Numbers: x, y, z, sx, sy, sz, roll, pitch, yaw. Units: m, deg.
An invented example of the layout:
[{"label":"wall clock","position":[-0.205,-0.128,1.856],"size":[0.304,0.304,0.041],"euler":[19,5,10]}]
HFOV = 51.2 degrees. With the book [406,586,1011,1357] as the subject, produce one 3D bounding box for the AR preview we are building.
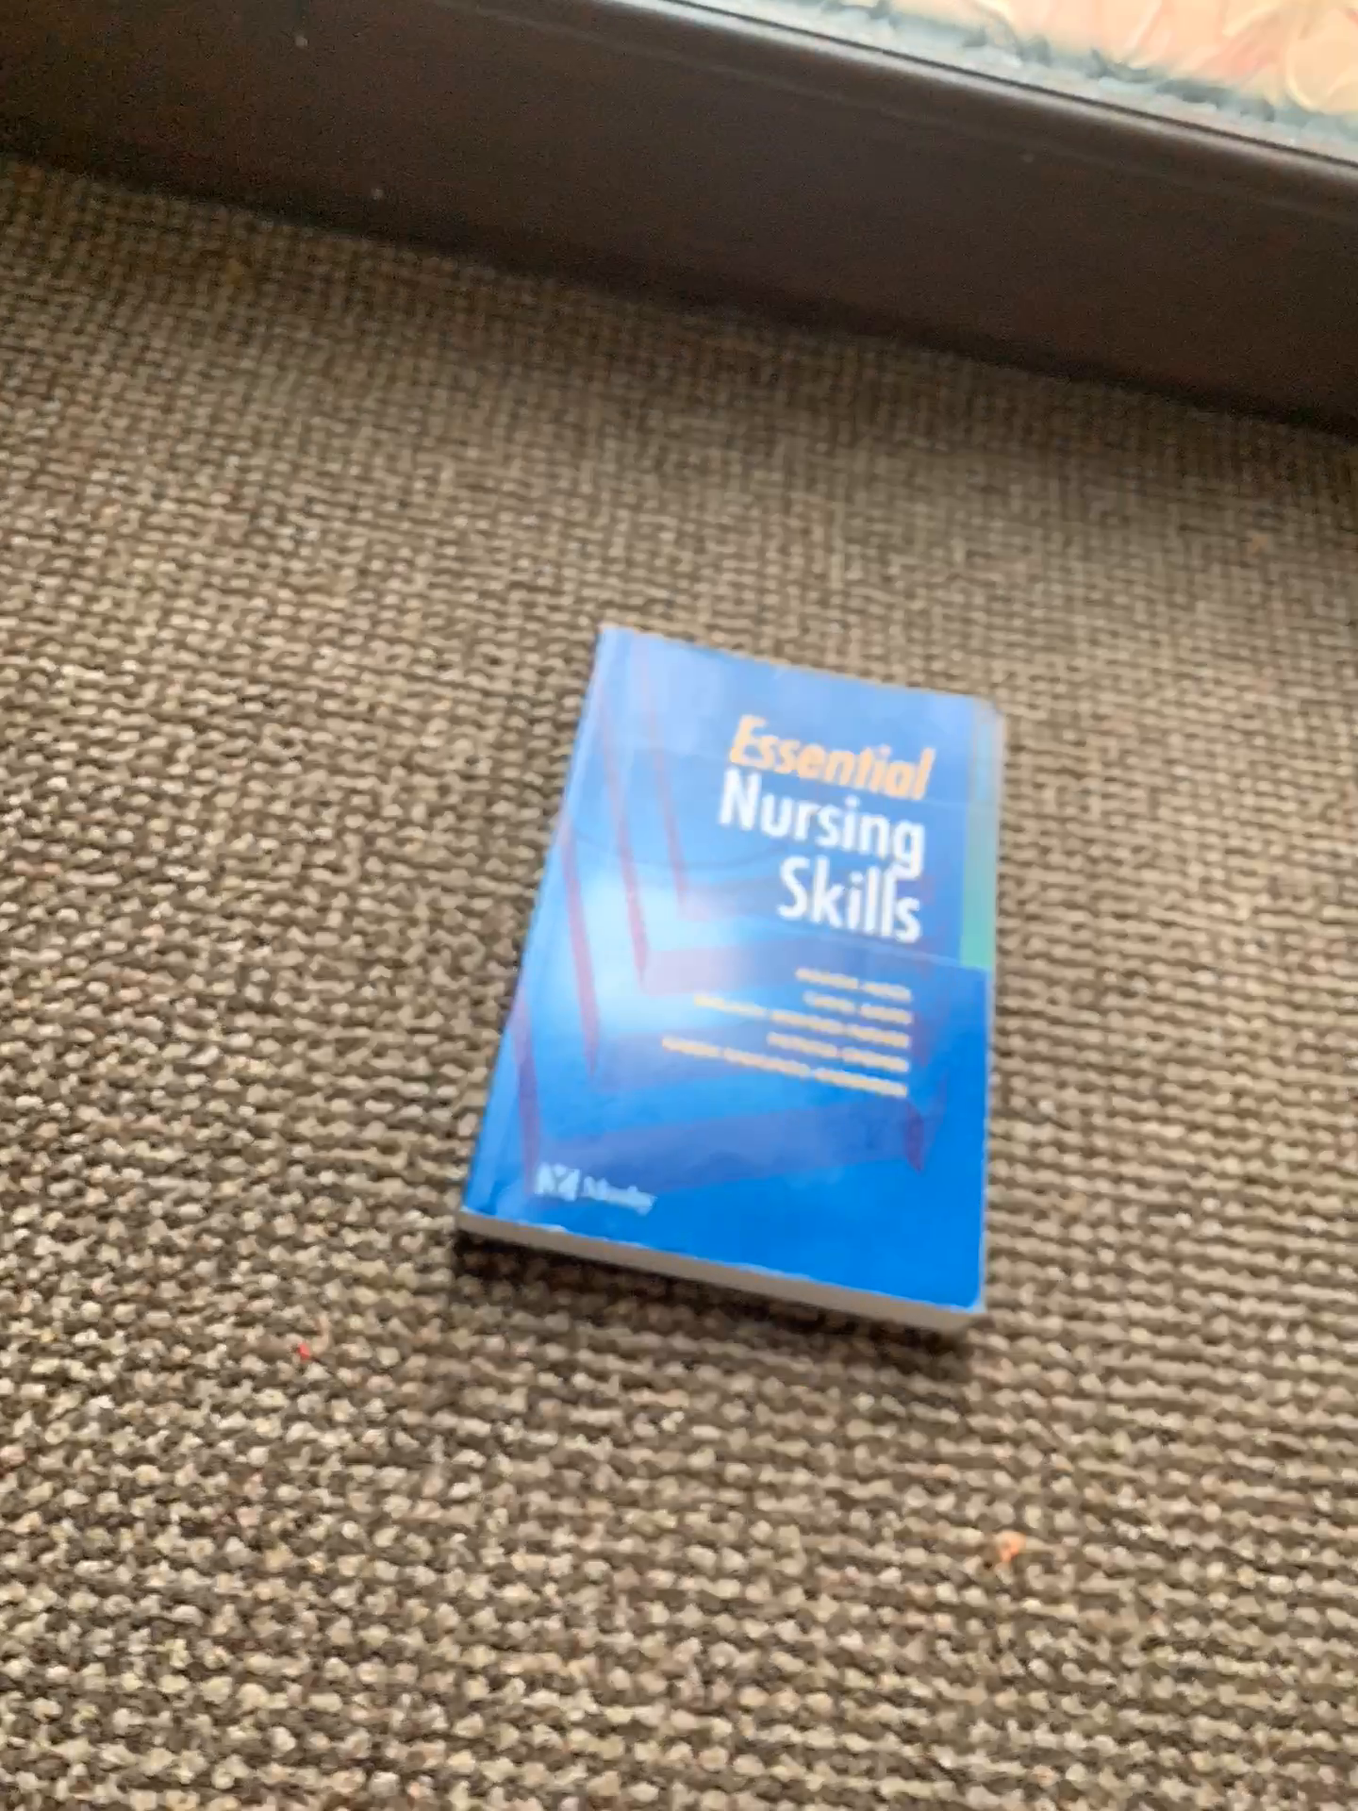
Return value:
[{"label":"book","position":[0.023,0.008,0.482],"size":[0.170,0.020,0.252],"euler":[11,60,-2]}]
